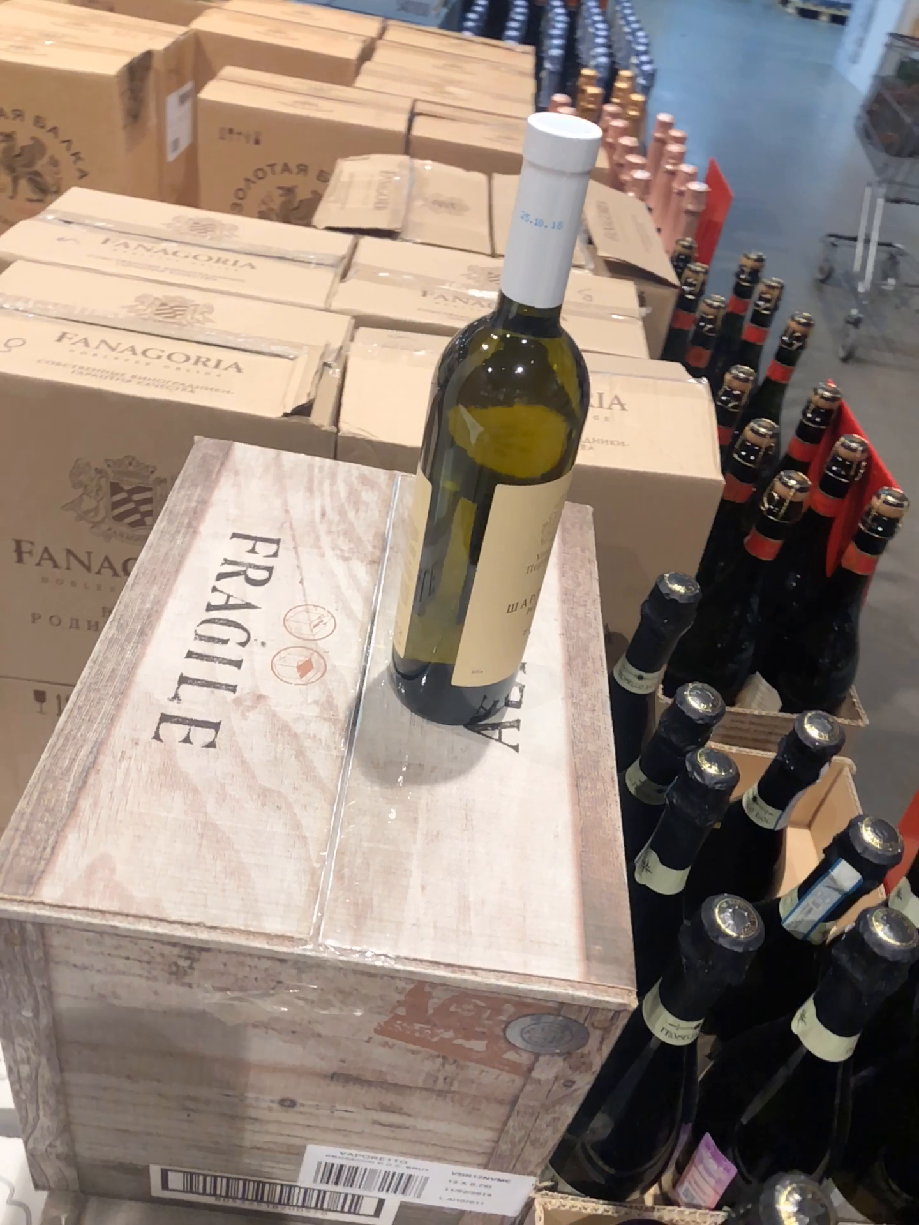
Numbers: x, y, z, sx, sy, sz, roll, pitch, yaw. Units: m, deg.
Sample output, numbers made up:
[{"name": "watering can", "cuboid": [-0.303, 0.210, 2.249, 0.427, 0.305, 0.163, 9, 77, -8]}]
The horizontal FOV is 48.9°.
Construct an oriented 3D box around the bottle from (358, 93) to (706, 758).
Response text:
[{"name": "bottle", "cuboid": [0.023, -0.075, 0.492, 0.080, 0.298, 0.091, 26, 41, 17]}]
